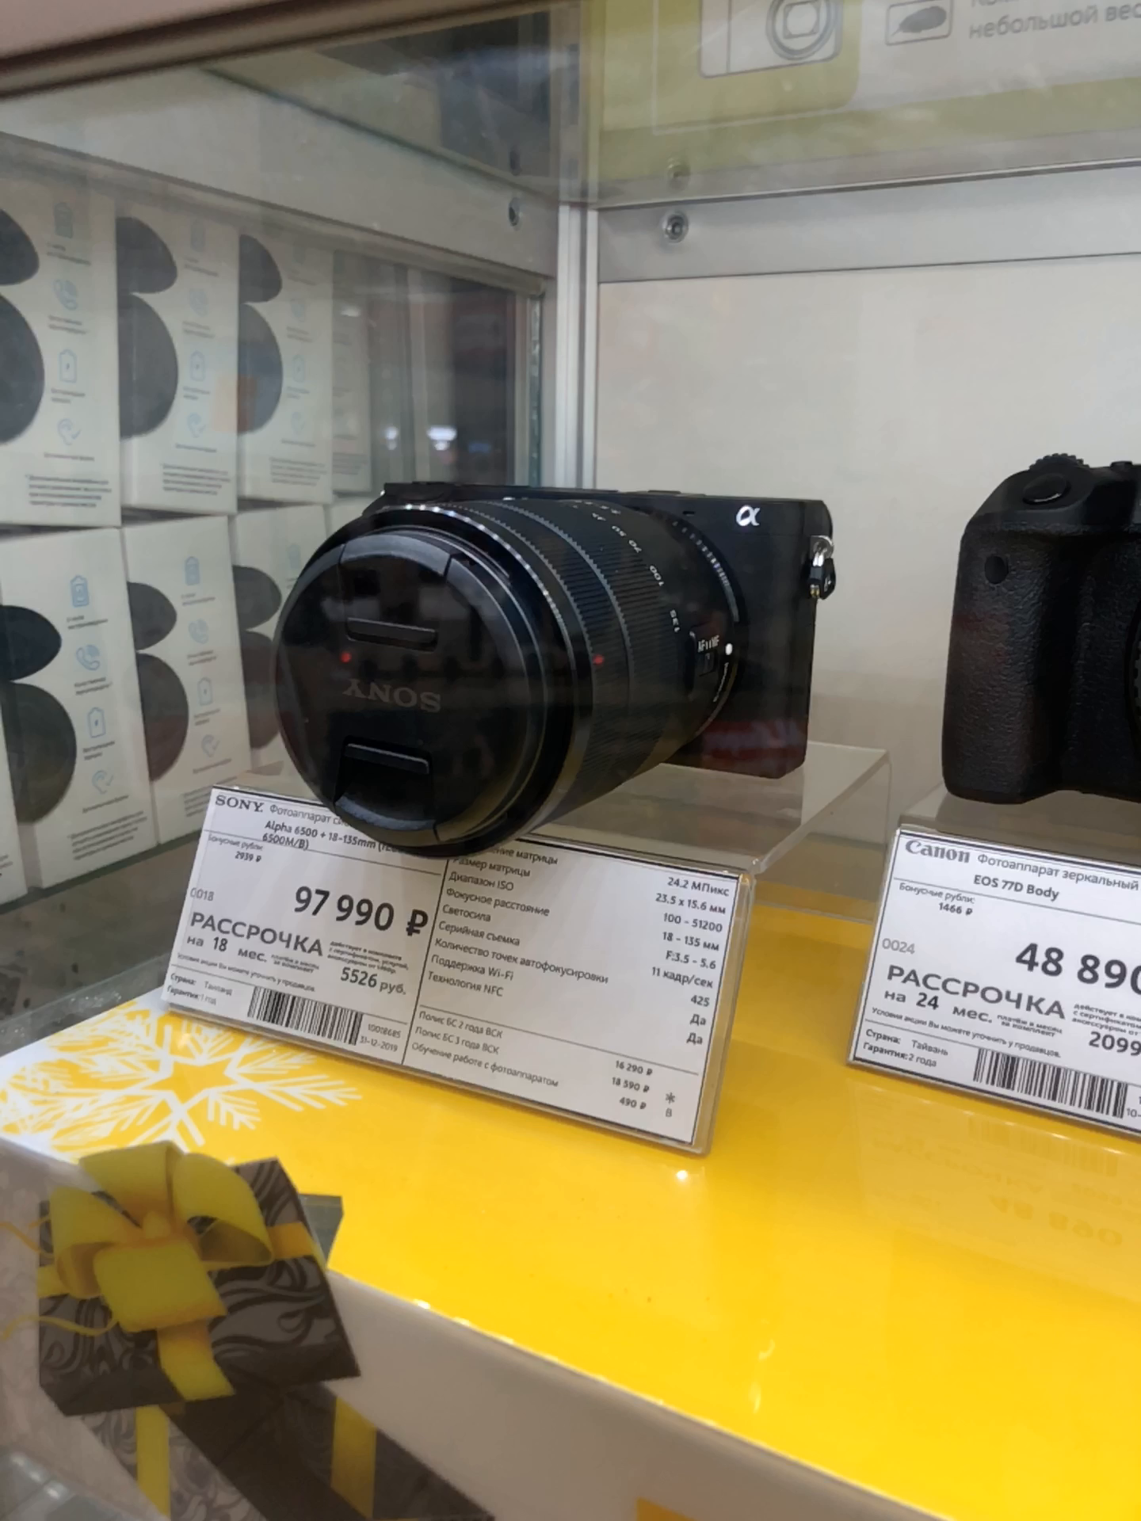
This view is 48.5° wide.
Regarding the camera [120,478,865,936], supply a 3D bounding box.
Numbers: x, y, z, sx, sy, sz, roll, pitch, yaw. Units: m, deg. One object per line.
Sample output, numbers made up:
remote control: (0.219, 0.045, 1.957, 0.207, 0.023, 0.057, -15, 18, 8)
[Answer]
camera: (-0.014, -0.027, 0.310, 0.130, 0.080, 0.123, 8, 15, 31)
